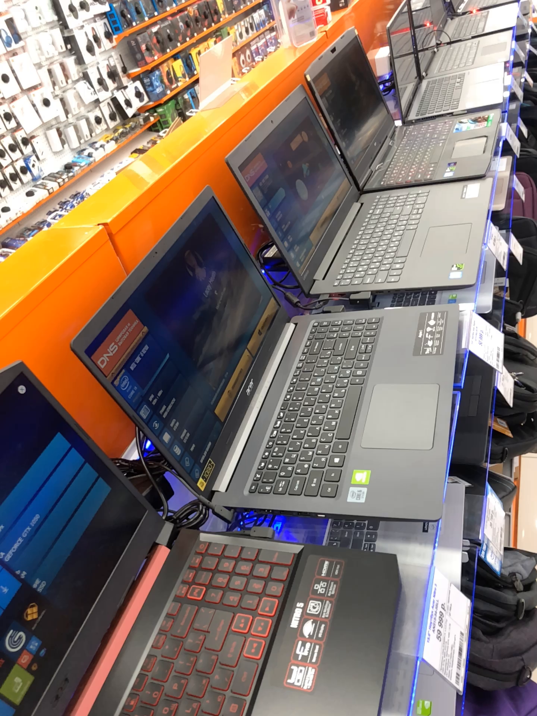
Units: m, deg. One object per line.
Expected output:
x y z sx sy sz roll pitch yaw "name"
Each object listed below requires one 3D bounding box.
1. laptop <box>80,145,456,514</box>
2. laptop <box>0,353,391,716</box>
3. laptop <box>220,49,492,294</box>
0.042 -0.045 0.683 0.302 0.224 0.354 -3 37 23 "laptop"
-0.105 0.186 0.398 0.301 0.231 0.310 -4 35 21 "laptop"
0.175 -0.310 0.977 0.322 0.230 0.350 0 38 24 "laptop"
